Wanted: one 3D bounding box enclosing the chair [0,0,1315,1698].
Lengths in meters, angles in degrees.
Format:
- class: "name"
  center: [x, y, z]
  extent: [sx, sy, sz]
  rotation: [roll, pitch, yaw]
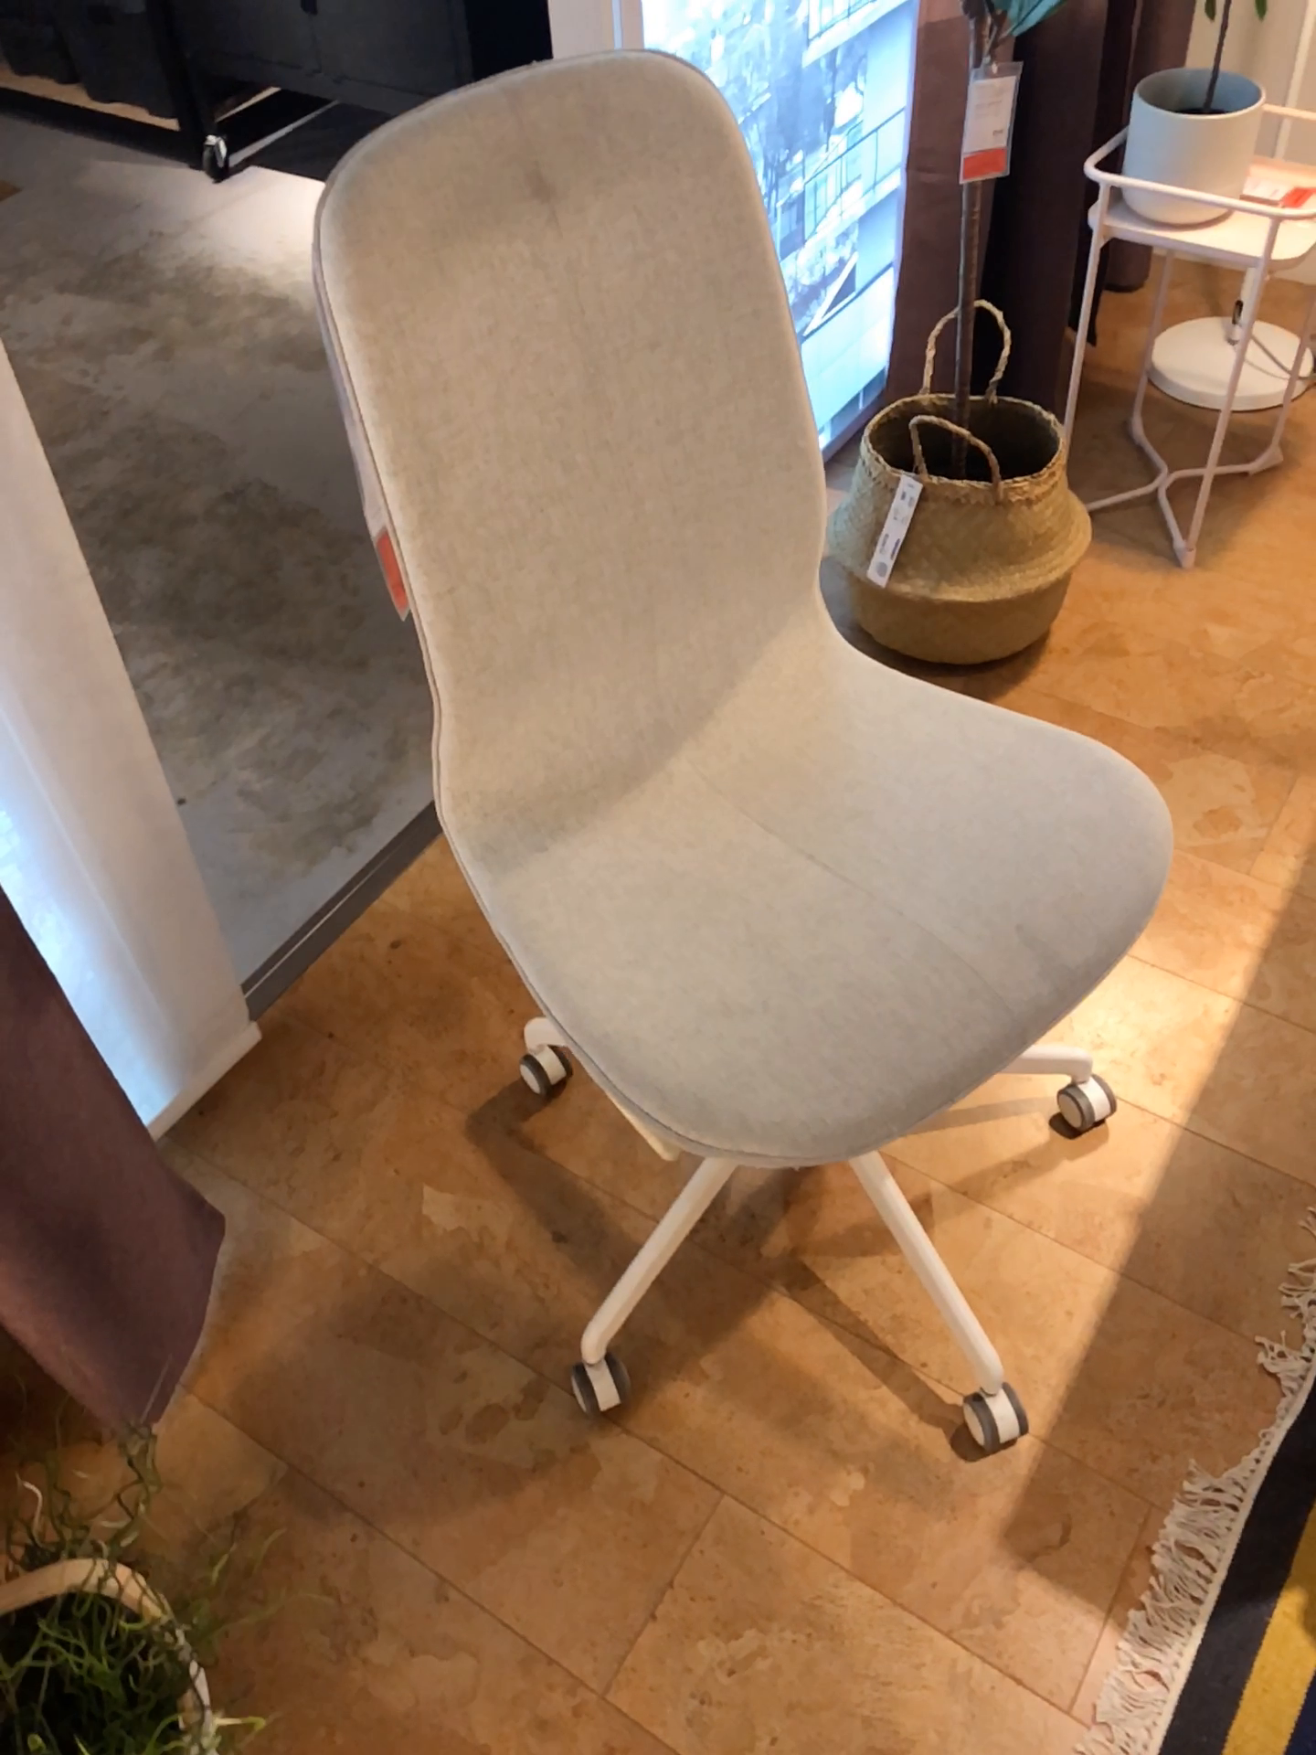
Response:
- class: "chair"
  center: [0.102, -0.032, 1.116]
  extent: [0.691, 0.937, 0.671]
  rotation: [34, 58, 30]
